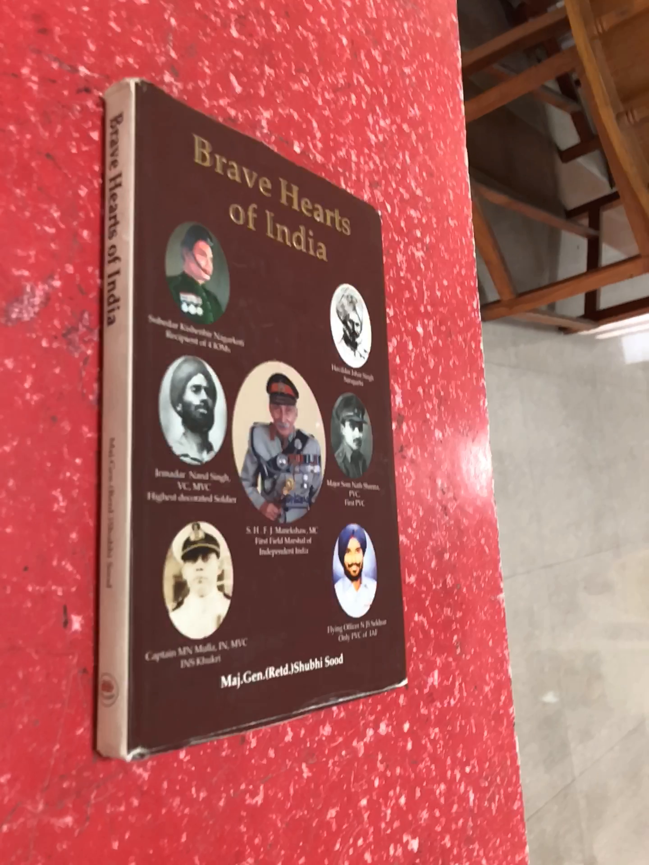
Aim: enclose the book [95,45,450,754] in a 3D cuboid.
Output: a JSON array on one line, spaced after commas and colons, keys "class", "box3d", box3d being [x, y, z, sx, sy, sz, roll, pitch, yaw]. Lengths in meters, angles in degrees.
[{"class": "book", "box3d": [-0.013, -0.010, 0.283, 0.151, 0.030, 0.220, 9, 75, -48]}]
